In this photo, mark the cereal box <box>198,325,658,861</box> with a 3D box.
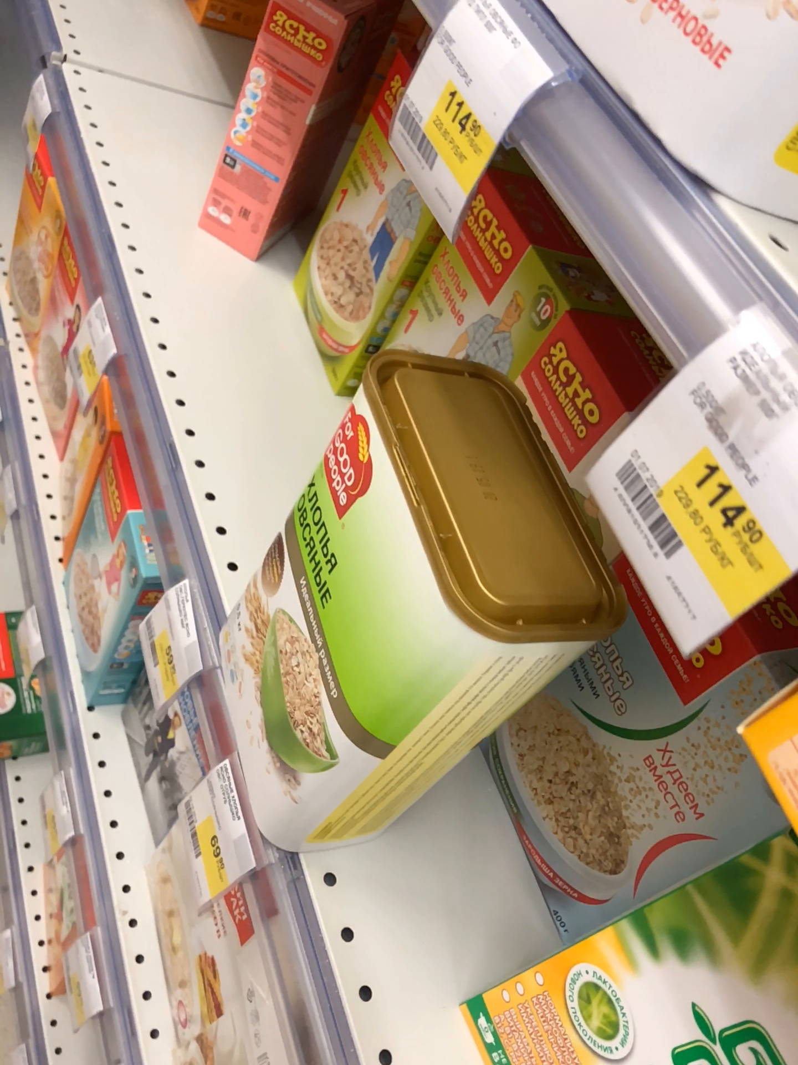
[{"bbox_3d":[-0.008,0.035,0.390,0.090,0.189,0.141,4,51,-31],"label":"cereal box"}]
